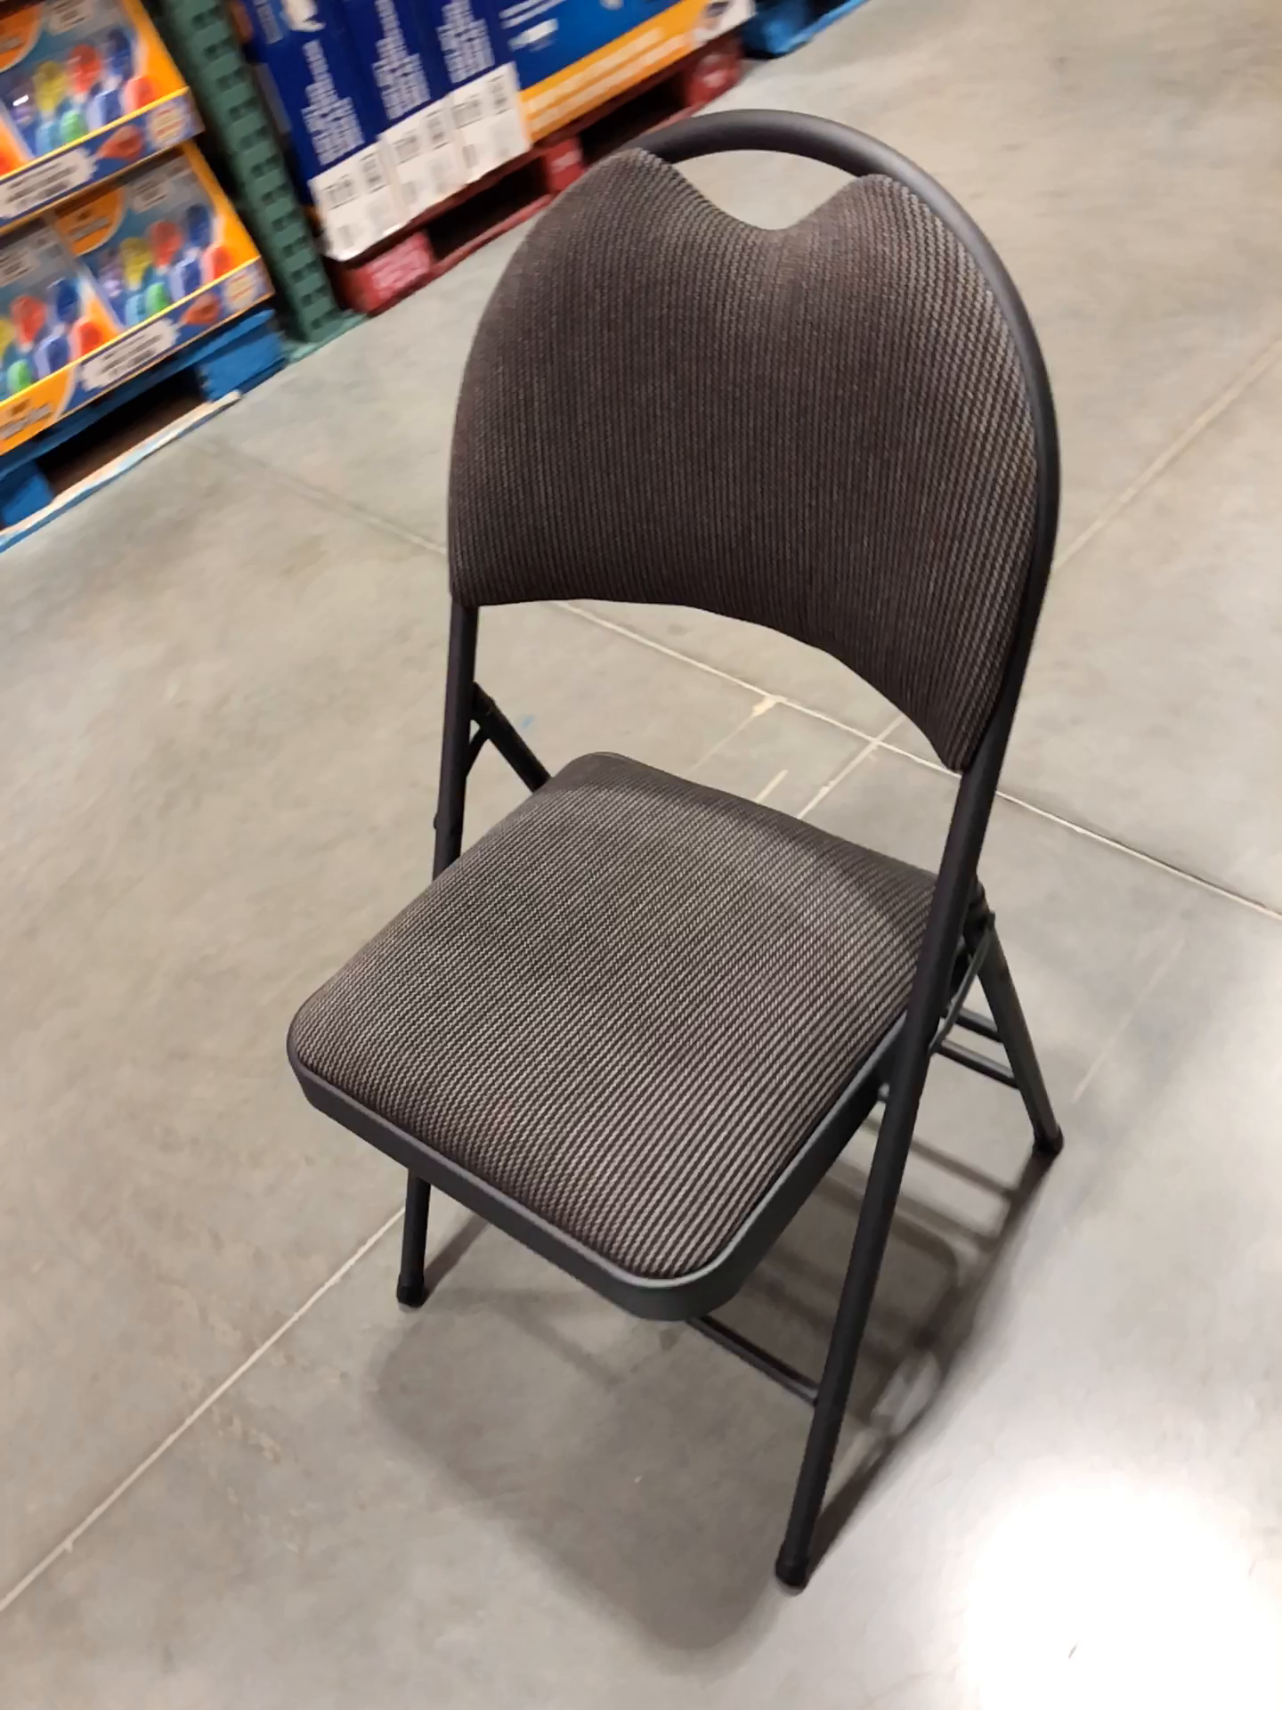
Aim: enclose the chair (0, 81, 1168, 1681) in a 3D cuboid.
[{"bbox_3d":[-0.028,0.039,0.992,0.521,0.867,0.561,22,57,32],"label":"chair"}]
